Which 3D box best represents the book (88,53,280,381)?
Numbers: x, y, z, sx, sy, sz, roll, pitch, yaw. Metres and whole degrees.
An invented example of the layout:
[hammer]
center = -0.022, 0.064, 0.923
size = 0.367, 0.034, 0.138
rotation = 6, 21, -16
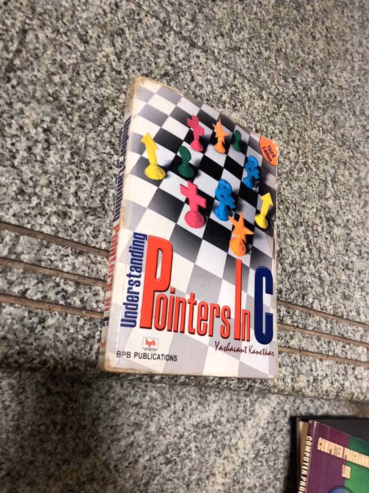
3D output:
[book]
center = 0.012, -0.016, 0.312
size = 0.141, 0.030, 0.220
rotation = 15, 70, -33
